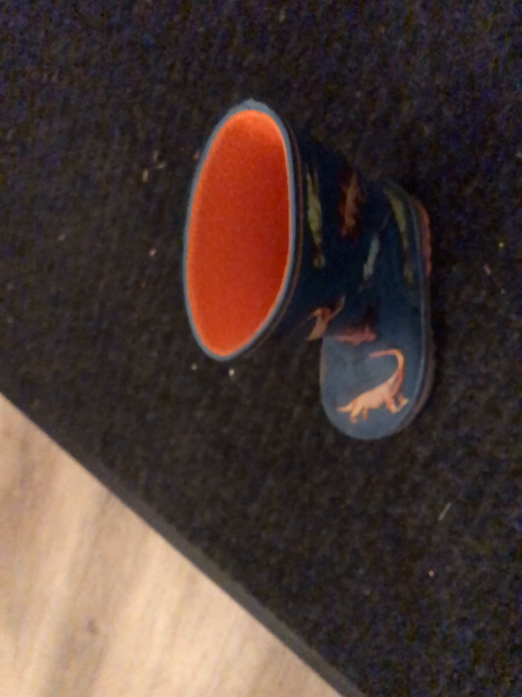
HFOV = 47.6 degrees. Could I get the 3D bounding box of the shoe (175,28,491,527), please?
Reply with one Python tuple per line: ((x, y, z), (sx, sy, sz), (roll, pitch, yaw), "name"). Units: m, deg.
((0.049, -0.035, 0.322), (0.080, 0.179, 0.190), (11, 101, 32), "shoe")
